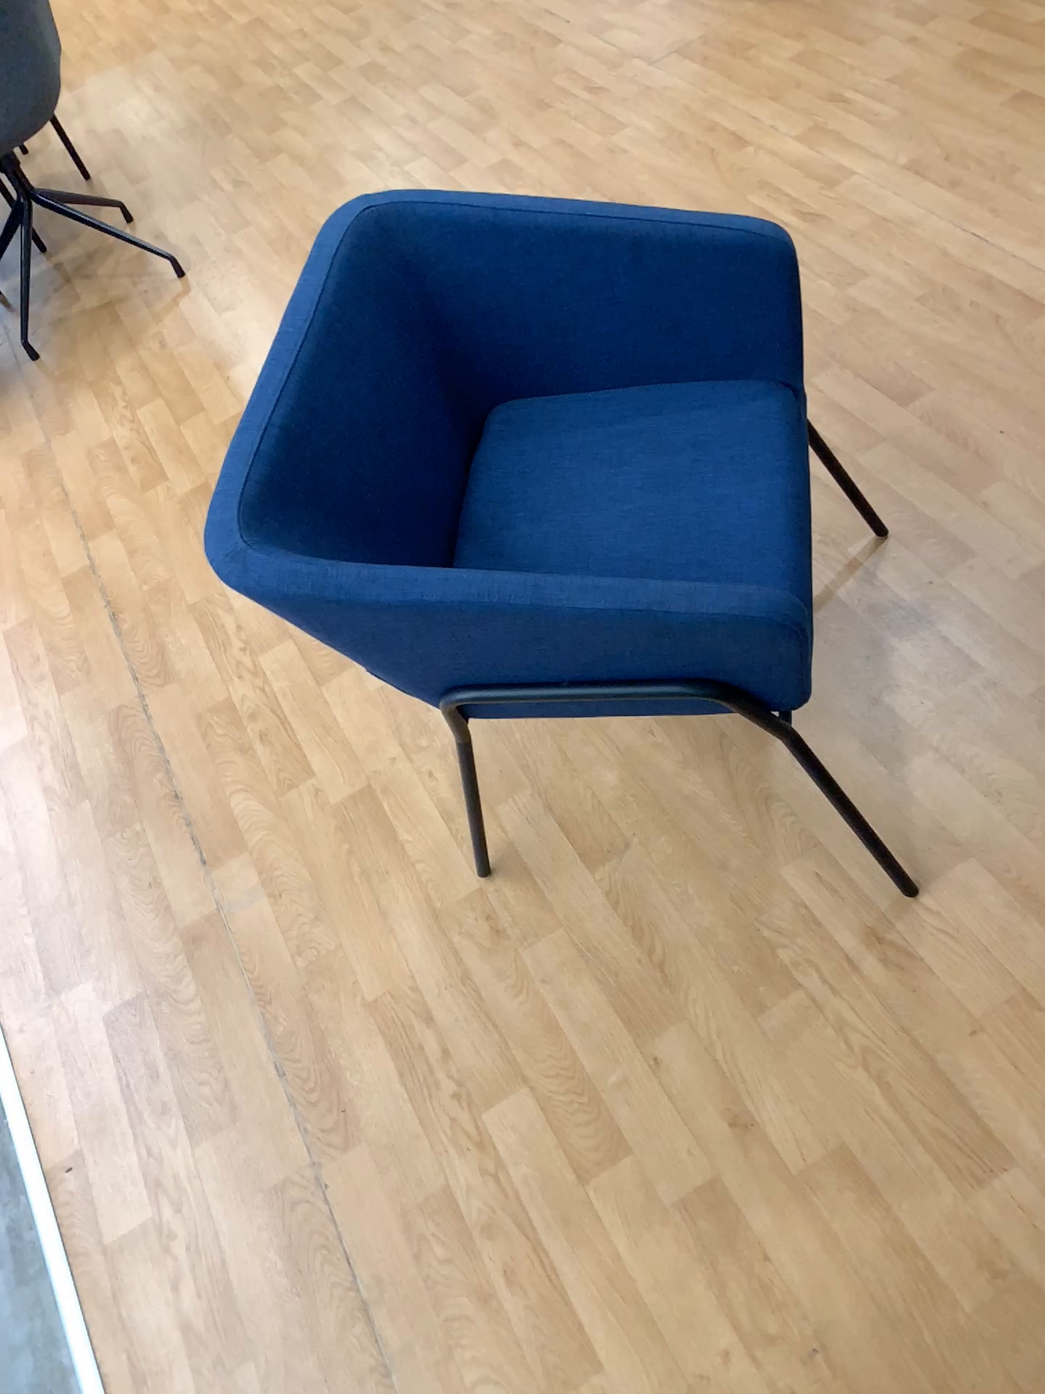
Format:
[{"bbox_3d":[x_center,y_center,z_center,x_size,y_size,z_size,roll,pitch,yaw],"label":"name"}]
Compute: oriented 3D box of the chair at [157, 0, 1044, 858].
[{"bbox_3d":[0.159,-0.283,1.328,0.751,0.685,0.704,-1,54,16],"label":"chair"}]
